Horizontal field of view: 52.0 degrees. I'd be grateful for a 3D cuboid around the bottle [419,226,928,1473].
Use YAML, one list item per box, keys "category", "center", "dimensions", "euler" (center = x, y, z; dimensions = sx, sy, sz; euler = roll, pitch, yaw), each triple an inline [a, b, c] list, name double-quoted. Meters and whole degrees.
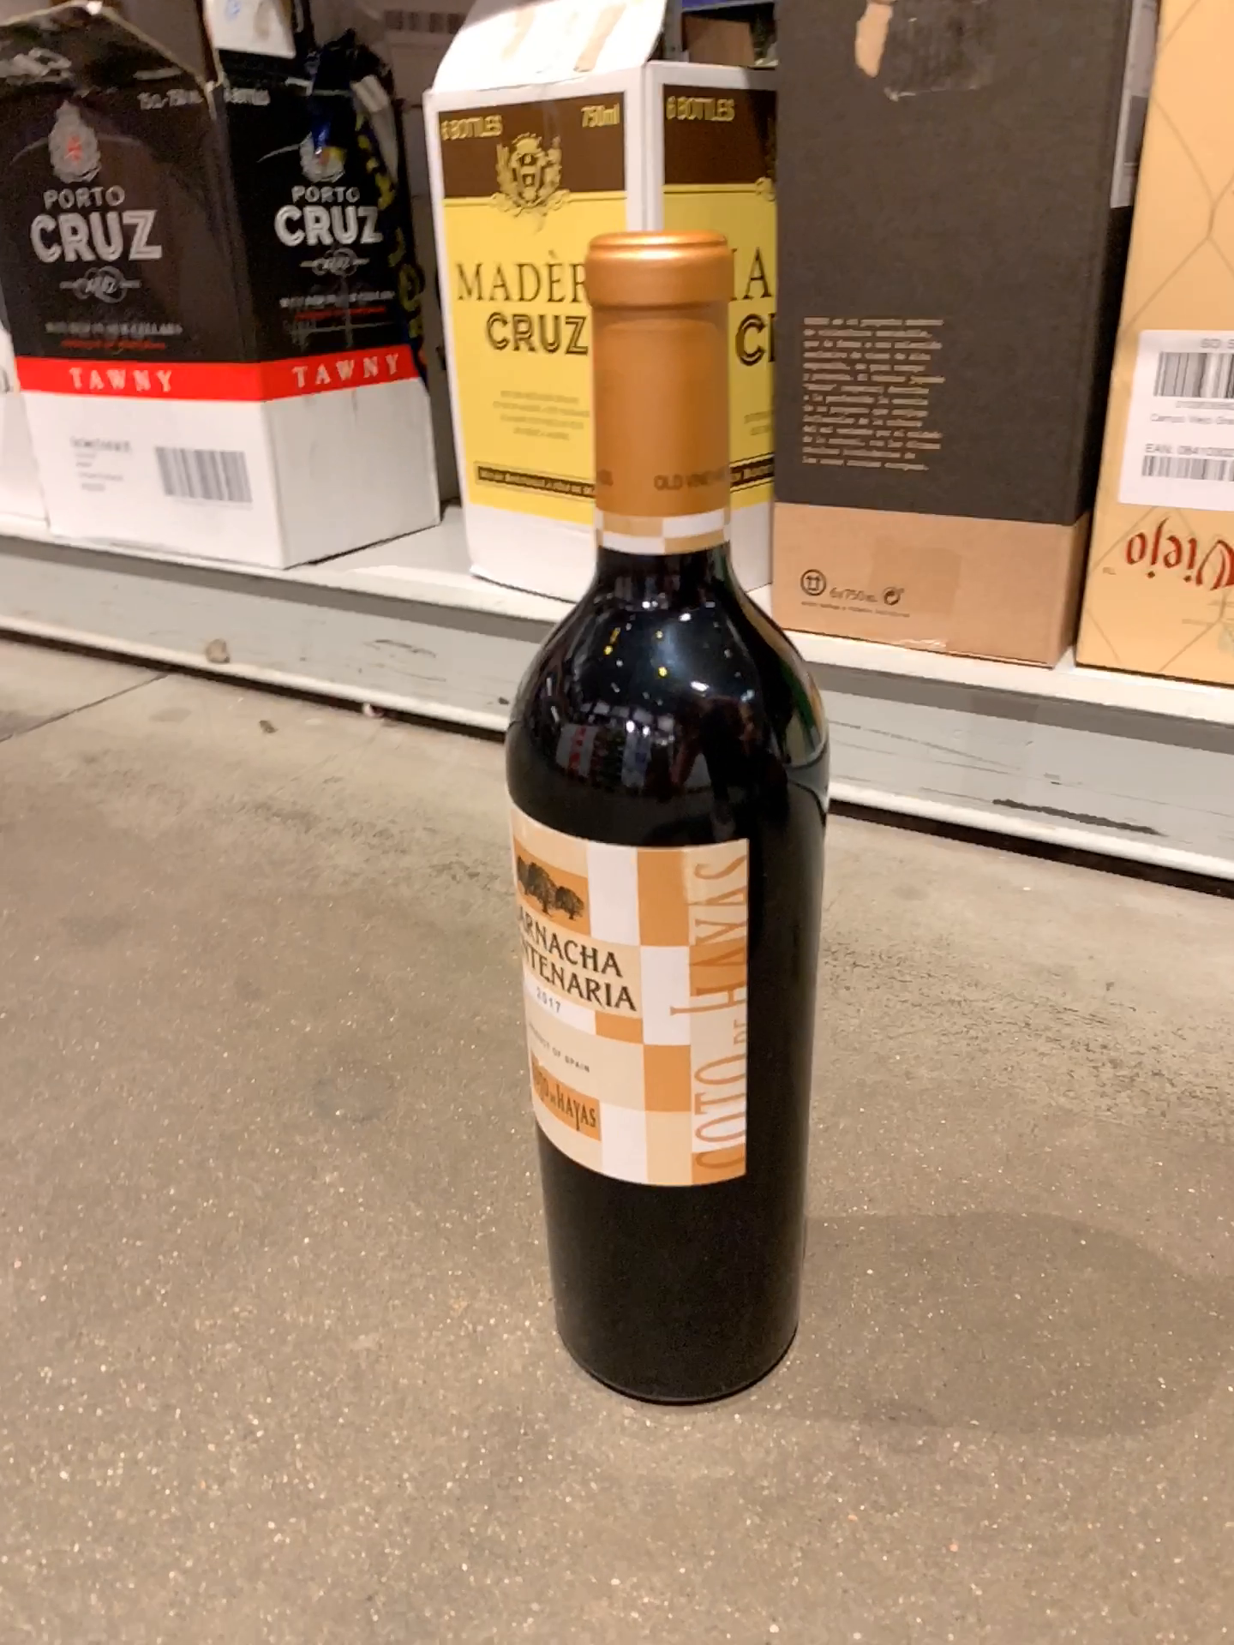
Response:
- category: "bottle"
  center: [0.019, 0.018, 0.337]
  dimensions: [0.080, 0.317, 0.080]
  euler: [-1, 26, 1]
